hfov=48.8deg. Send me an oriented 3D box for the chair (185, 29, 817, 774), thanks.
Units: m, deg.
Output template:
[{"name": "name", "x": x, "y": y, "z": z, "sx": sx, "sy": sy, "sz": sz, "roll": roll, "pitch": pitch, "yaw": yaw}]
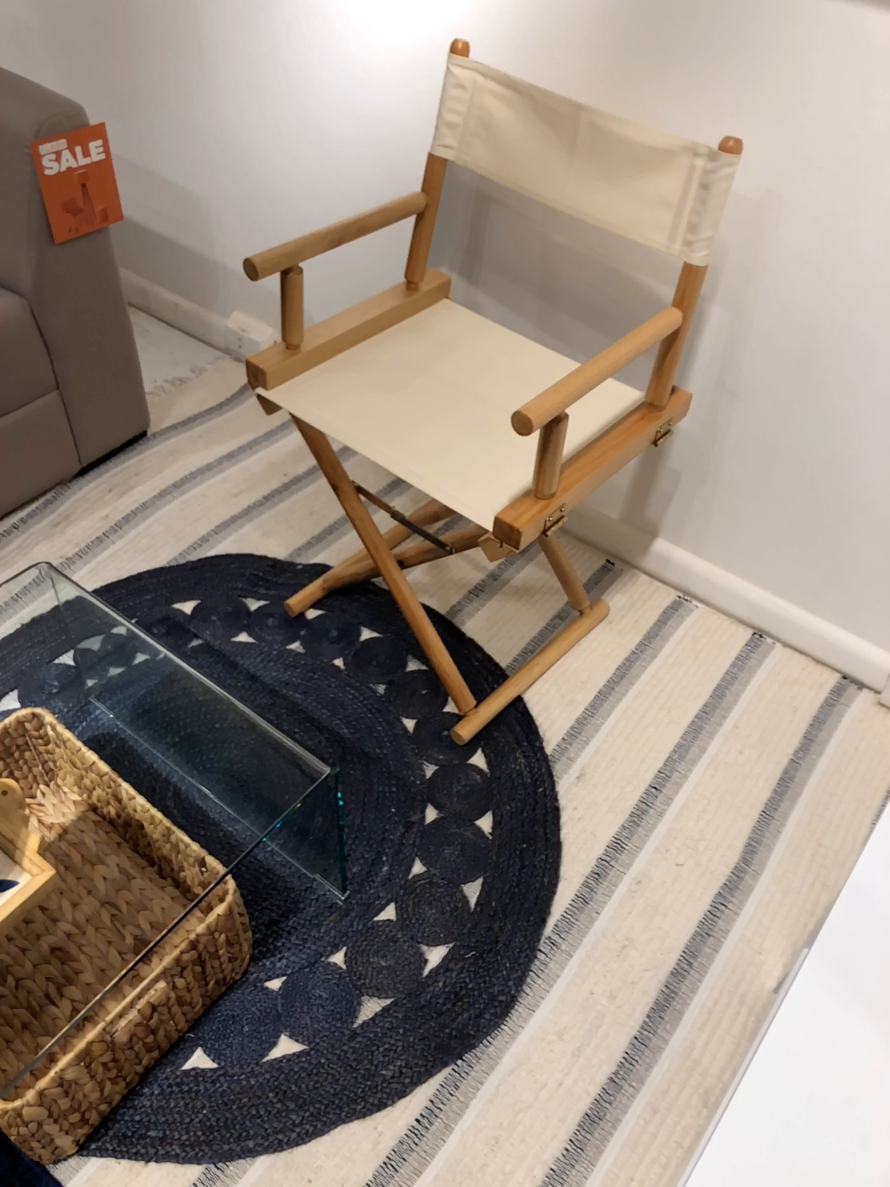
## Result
[{"name": "chair", "x": 0.058, "y": -0.285, "z": 1.475, "sx": 0.541, "sy": 0.794, "sz": 0.563, "roll": 33, "pitch": 52, "yaw": 25}]
